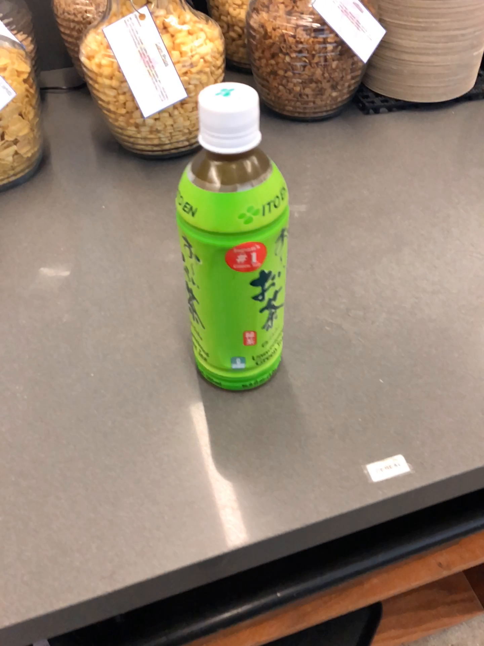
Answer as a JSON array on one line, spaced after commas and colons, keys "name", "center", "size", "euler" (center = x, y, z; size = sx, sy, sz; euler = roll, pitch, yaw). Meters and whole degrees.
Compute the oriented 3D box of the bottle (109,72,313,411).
[{"name": "bottle", "center": [-0.009, -0.040, 0.335], "size": [0.080, 0.189, 0.080], "euler": [-1, 47, 1]}]
